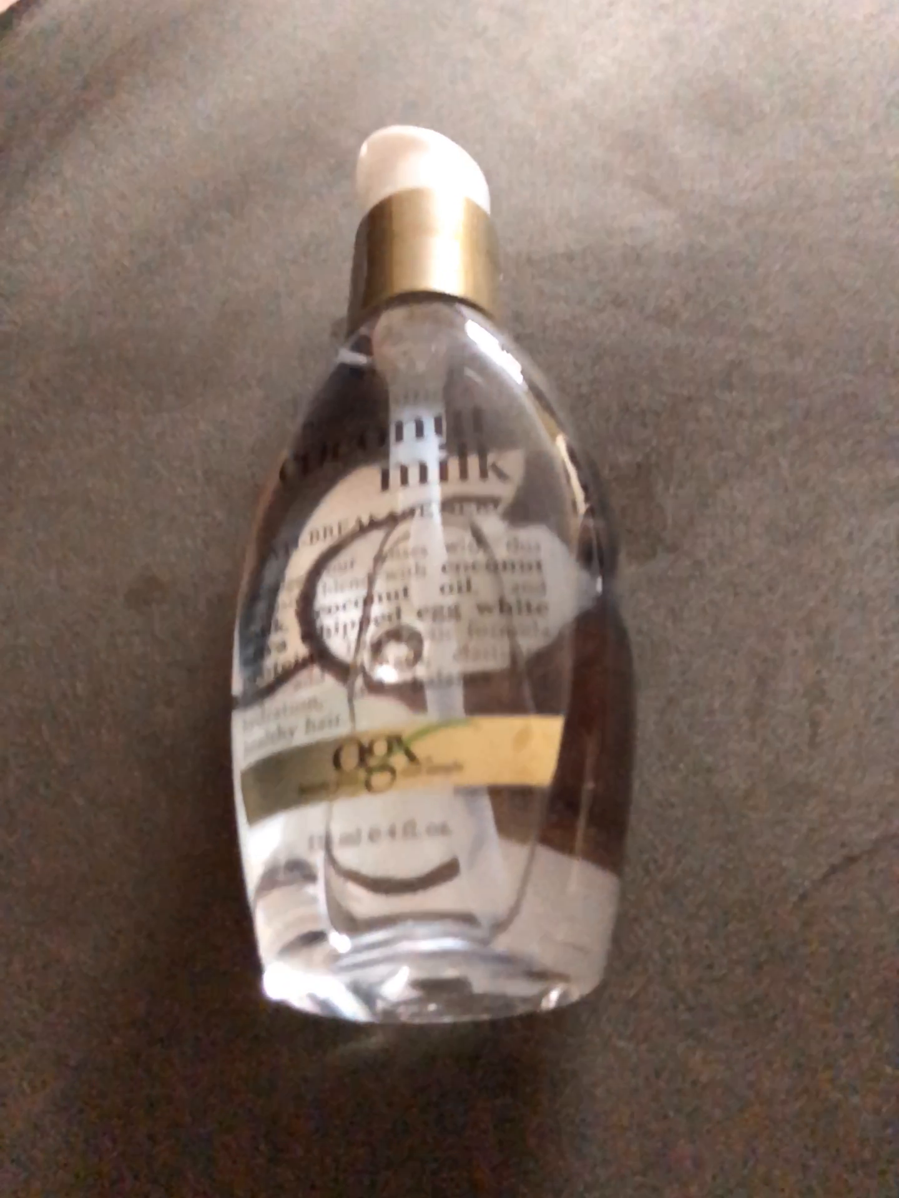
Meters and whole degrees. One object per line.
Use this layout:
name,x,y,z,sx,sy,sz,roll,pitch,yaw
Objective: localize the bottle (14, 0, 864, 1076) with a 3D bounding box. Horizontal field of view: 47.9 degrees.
bottle,0.001,-0.028,0.144,0.070,0.040,0.170,-4,57,8
